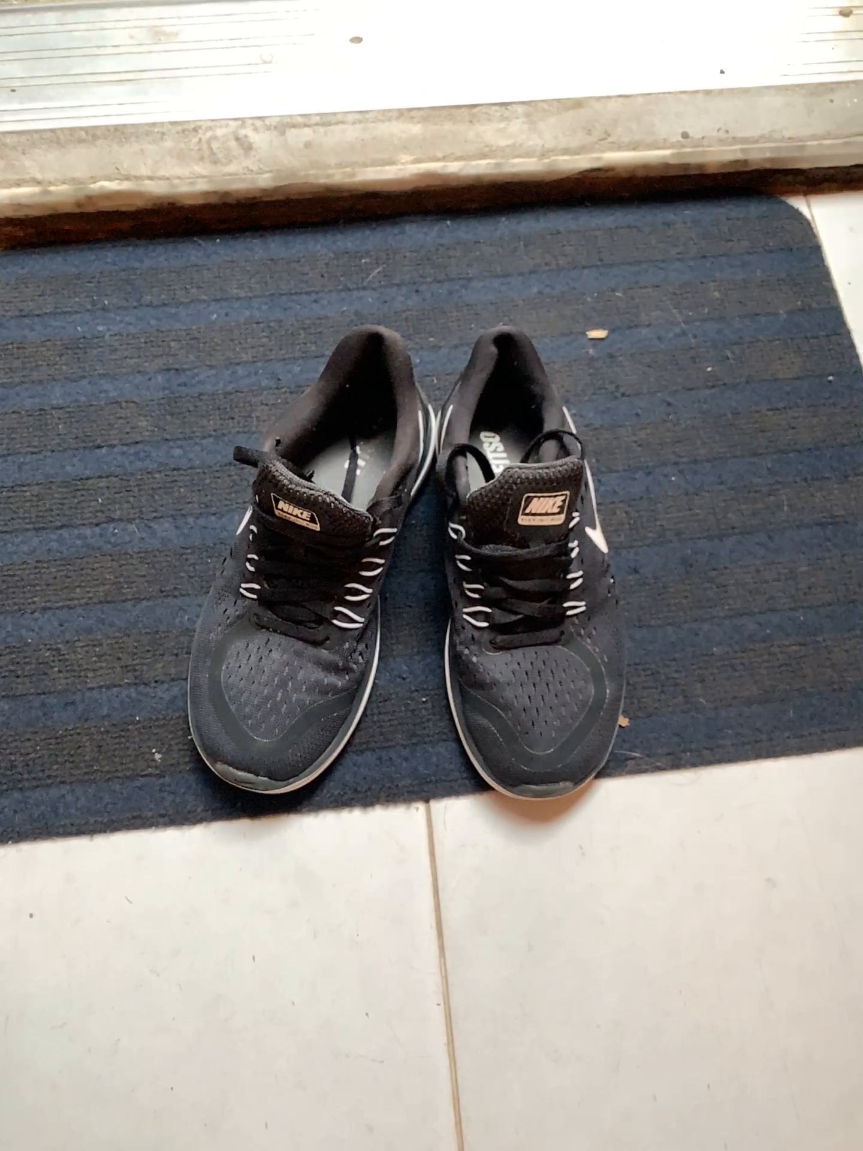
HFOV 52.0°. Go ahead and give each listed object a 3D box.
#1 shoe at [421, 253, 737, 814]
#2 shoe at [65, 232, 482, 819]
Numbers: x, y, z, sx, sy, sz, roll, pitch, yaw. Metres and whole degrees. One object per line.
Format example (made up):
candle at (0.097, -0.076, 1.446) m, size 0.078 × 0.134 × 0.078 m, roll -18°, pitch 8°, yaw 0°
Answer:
shoe at (0.056, -0.019, 0.442) m, size 0.106 × 0.119 × 0.248 m, roll -3°, pitch 68°, yaw -3°
shoe at (-0.061, -0.023, 0.442) m, size 0.104 × 0.119 × 0.248 m, roll 15°, pitch 68°, yaw 5°
